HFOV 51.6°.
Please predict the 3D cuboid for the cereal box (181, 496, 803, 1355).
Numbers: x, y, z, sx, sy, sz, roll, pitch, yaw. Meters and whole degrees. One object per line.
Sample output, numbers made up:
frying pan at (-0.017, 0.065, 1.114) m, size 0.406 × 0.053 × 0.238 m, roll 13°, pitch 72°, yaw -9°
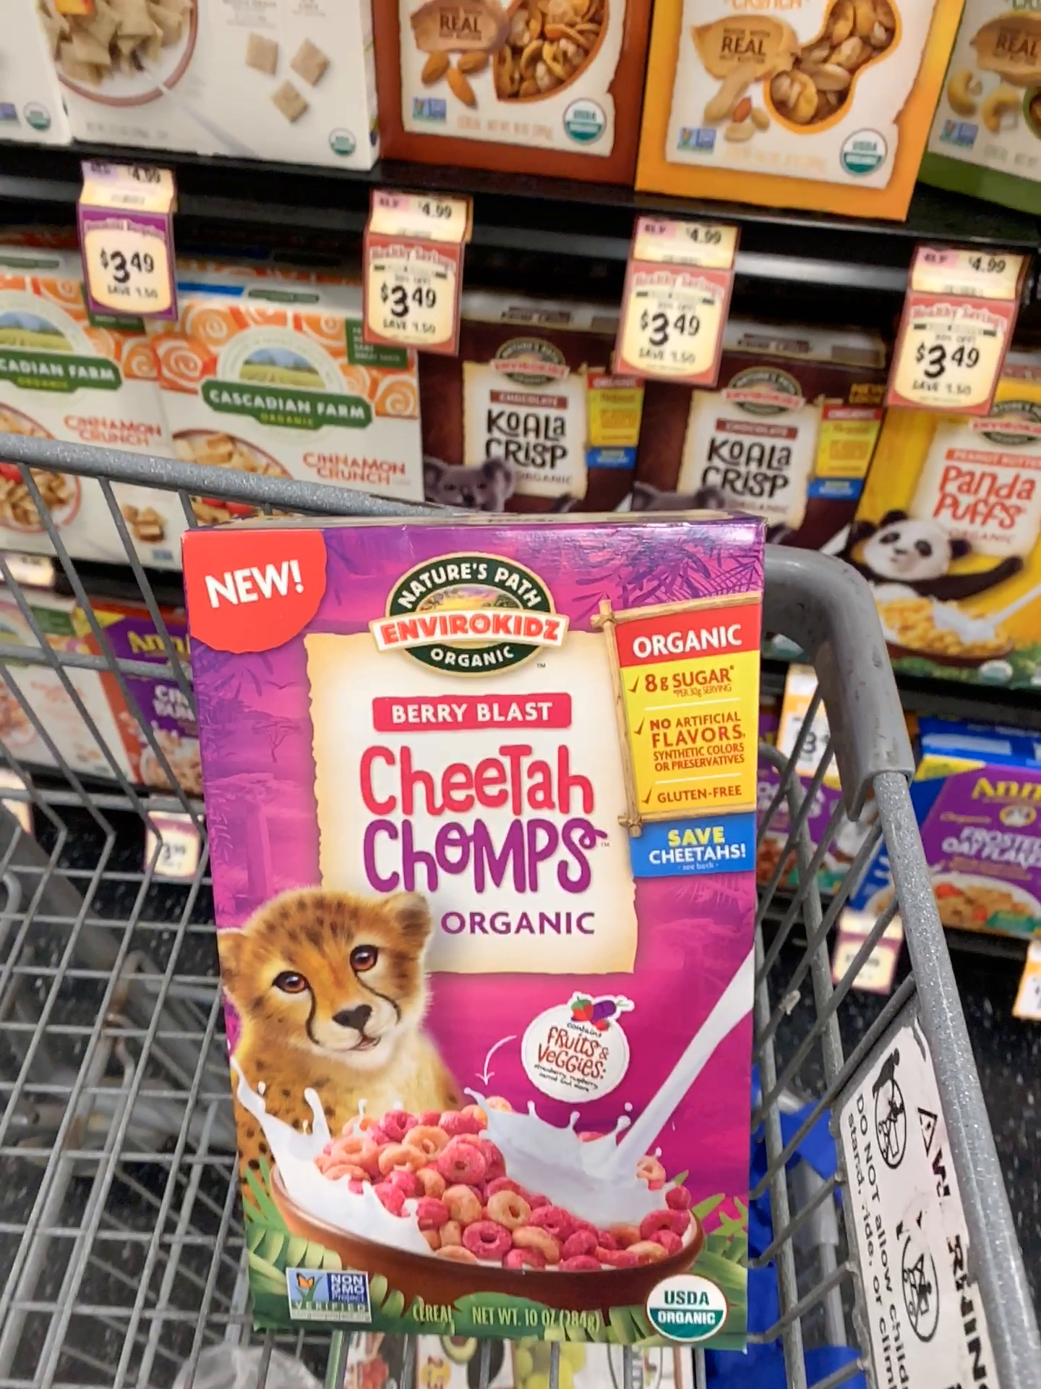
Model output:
cereal box at (-0.006, 0.067, 0.330) m, size 0.160 × 0.250 × 0.060 m, roll 0°, pitch 11°, yaw 4°
